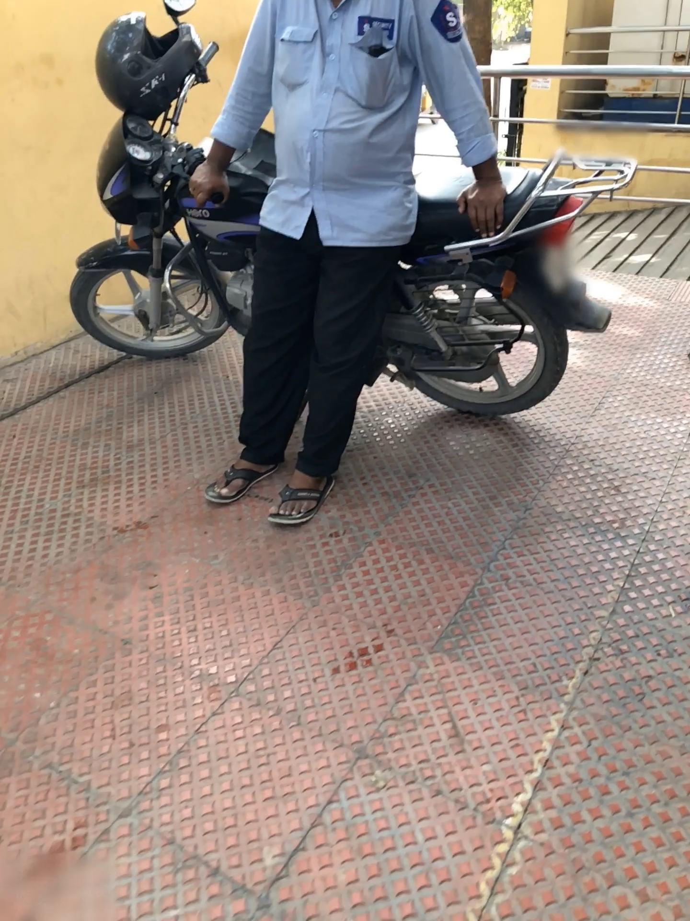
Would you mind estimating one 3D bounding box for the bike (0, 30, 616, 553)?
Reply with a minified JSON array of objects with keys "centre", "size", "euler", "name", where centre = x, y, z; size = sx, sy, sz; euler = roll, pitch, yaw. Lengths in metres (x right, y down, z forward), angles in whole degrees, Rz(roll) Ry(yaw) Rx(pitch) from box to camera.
[{"centre":[-0.237,-0.583,2.098],"size":[1.672,1.007,0.927],"euler":[10,33,16],"name":"bike"}]
